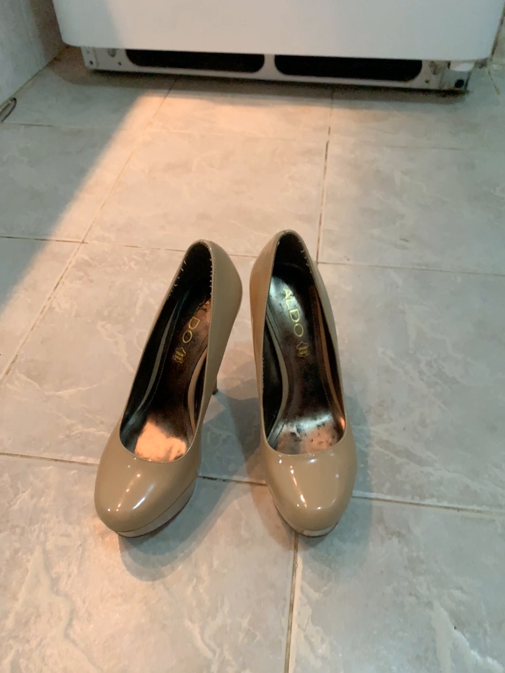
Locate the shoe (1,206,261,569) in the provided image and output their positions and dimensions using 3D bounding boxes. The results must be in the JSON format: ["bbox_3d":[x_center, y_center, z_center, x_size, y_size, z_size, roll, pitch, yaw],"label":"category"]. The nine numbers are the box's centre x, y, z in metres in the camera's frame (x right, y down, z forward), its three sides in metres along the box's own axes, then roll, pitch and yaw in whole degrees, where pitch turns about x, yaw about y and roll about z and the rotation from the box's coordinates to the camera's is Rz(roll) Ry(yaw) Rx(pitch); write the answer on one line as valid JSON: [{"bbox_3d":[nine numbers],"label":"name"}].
[{"bbox_3d":[-0.066,0.036,0.413,0.087,0.176,0.211,13,49,12],"label":"shoe"}]

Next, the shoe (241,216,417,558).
[{"bbox_3d":[0.041,0.037,0.415,0.087,0.166,0.211,-3,48,-2],"label":"shoe"}]
